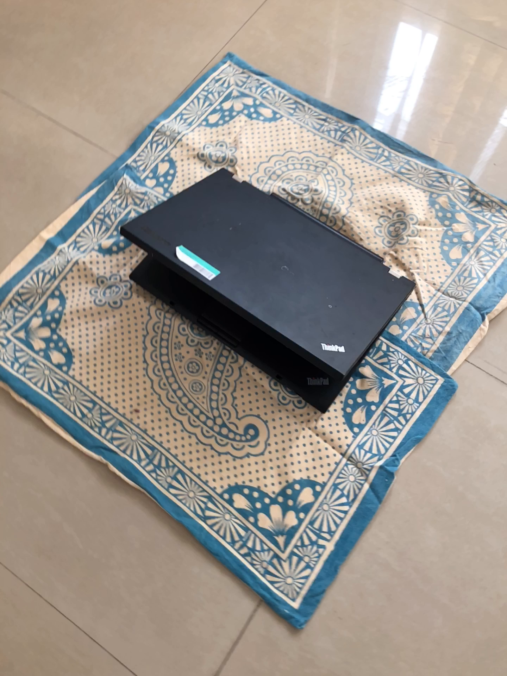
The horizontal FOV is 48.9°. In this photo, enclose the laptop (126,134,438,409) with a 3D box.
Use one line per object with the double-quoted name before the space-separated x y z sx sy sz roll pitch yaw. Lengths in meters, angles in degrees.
"laptop" 0.034 -0.105 0.805 0.348 0.125 0.241 35 71 19
